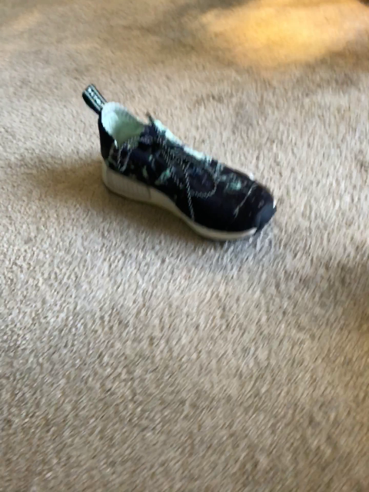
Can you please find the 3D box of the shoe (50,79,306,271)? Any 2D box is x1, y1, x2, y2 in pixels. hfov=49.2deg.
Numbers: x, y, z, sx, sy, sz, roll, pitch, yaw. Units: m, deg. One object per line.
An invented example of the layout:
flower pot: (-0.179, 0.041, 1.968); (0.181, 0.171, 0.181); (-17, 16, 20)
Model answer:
shoe: (-0.012, -0.104, 0.511); (0.287, 0.100, 0.132); (27, 62, 29)
